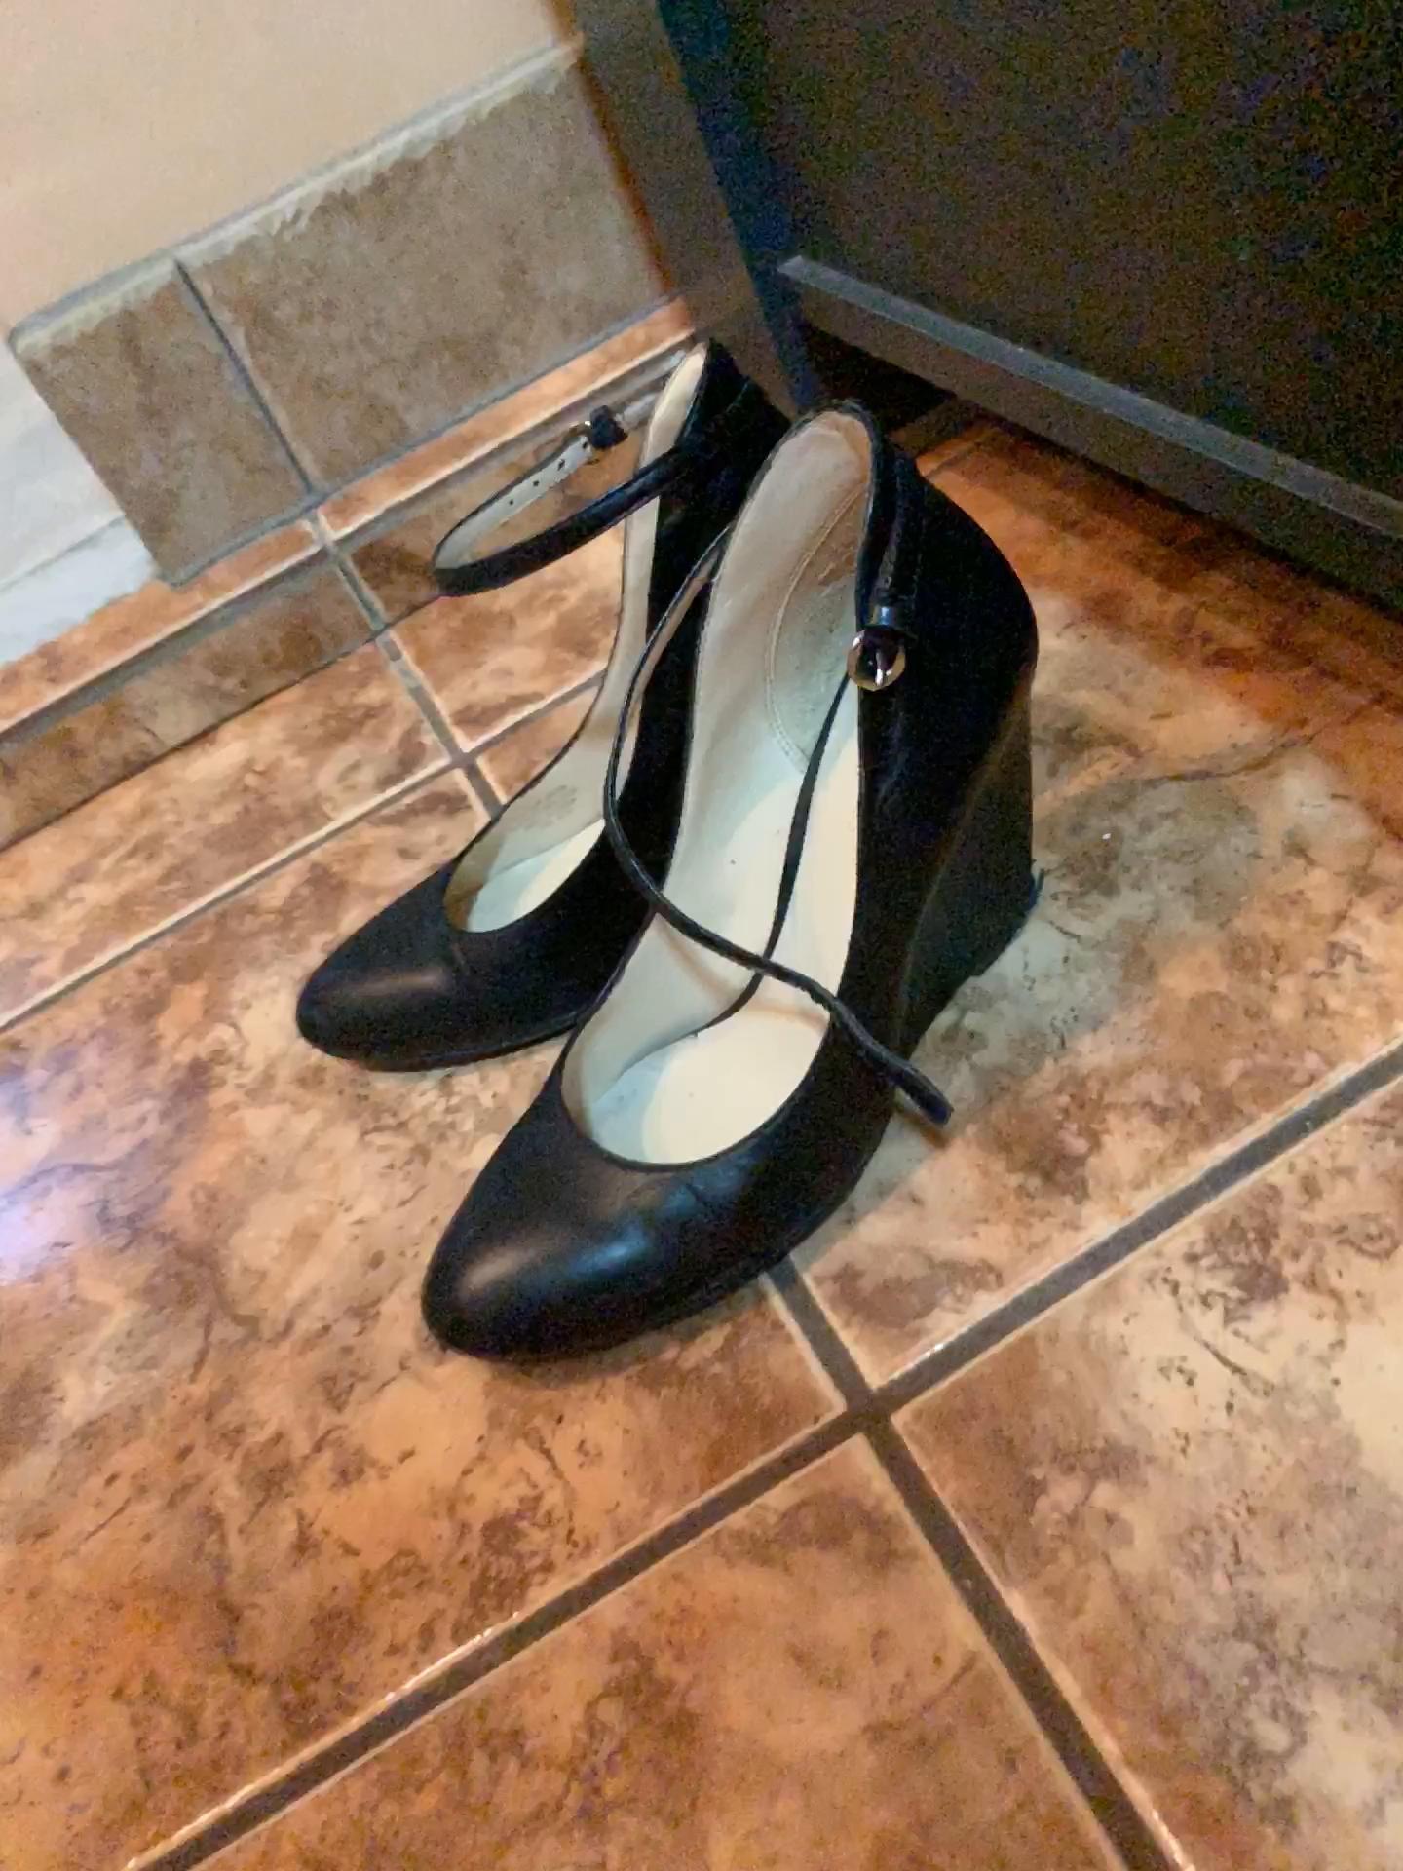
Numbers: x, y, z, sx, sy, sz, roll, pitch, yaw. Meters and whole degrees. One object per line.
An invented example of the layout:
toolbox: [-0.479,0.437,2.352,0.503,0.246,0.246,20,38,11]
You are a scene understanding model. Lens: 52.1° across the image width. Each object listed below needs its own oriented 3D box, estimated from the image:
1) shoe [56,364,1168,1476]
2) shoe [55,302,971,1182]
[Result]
shoe: [-0.006,-0.007,0.335,0.209,0.140,0.087,-40,43,-14]
shoe: [-0.046,-0.050,0.413,0.200,0.159,0.079,-29,41,-2]
